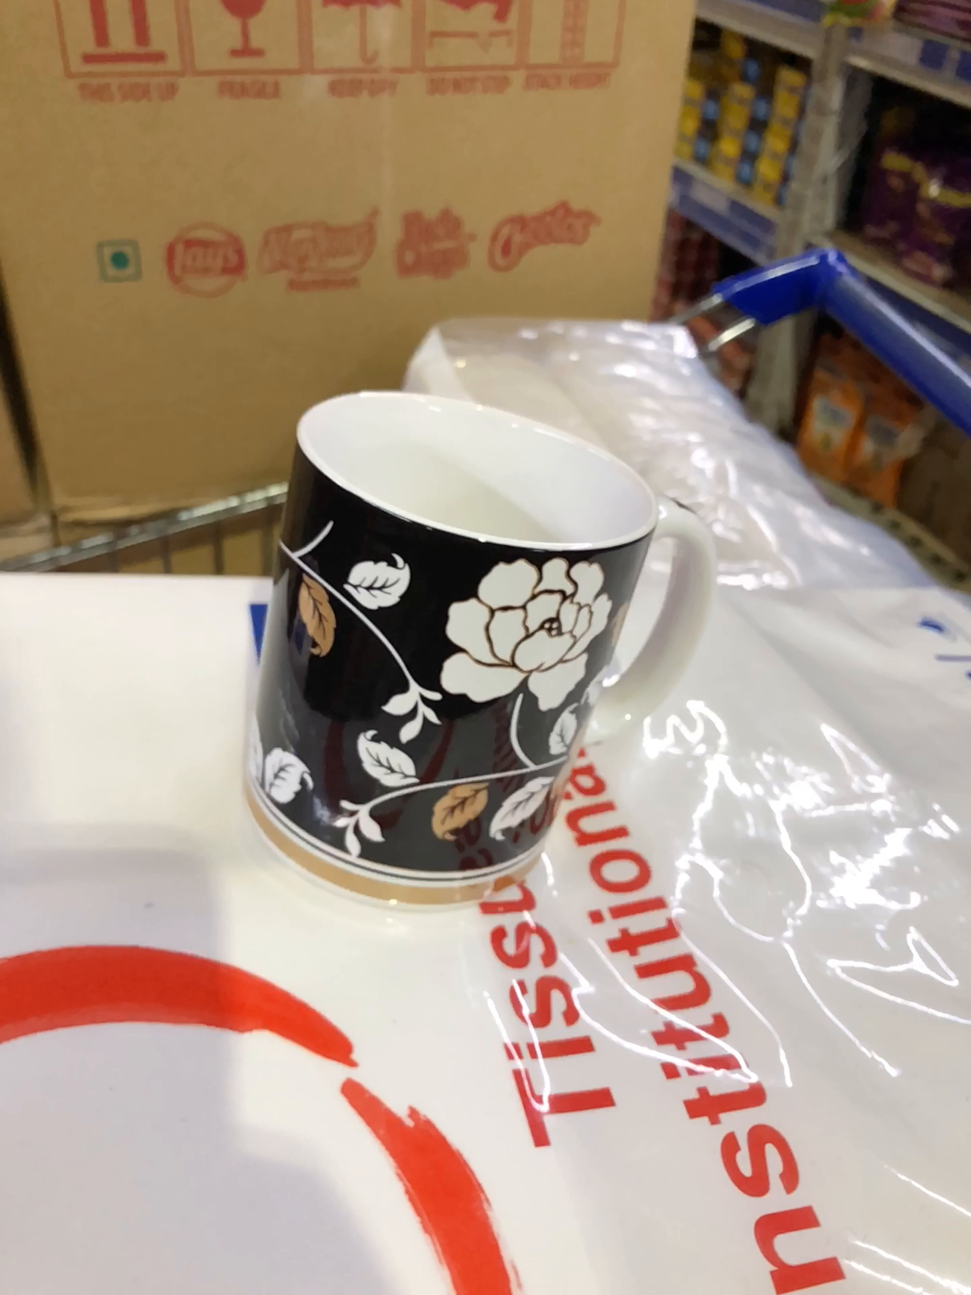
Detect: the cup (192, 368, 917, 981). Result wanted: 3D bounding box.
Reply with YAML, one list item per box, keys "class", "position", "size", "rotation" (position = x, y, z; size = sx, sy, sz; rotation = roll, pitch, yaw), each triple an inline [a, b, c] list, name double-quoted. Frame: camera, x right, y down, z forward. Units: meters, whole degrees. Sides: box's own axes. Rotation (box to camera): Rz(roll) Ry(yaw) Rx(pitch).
- class: "cup"
  position: [0.012, -0.001, 0.265]
  size: [0.130, 0.099, 0.080]
  rotation: [-6, 38, -35]
